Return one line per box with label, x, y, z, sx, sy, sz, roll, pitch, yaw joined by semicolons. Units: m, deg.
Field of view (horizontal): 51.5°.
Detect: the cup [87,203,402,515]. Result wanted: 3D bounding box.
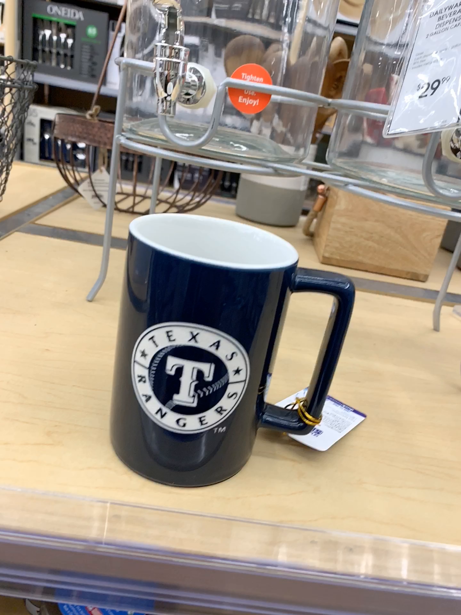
cup;0.000;0.022;0.261;0.123;0.121;0.097;9;22;-4
